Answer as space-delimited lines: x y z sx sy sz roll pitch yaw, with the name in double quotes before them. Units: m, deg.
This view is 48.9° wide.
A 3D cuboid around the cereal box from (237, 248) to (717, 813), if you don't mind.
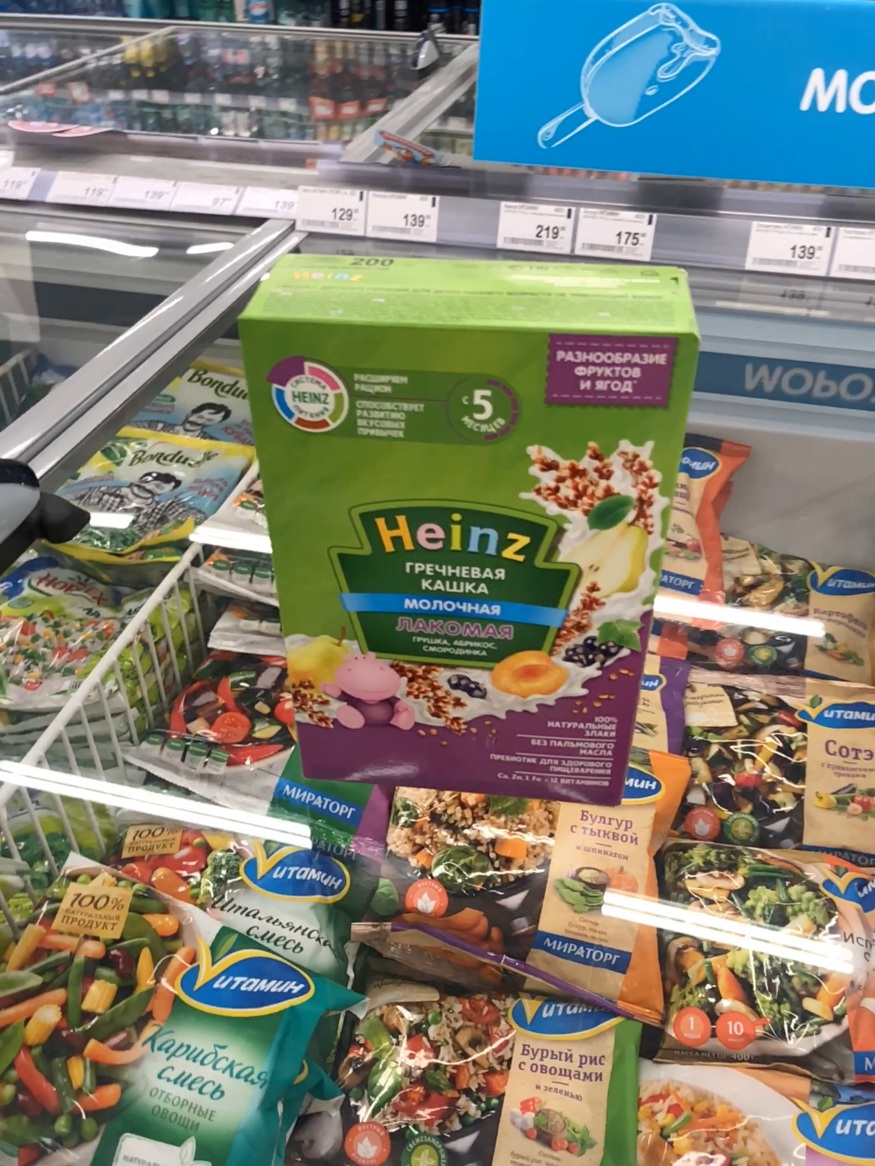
"cereal box" 0.012 -0.008 0.340 0.130 0.199 0.050 3 38 5
